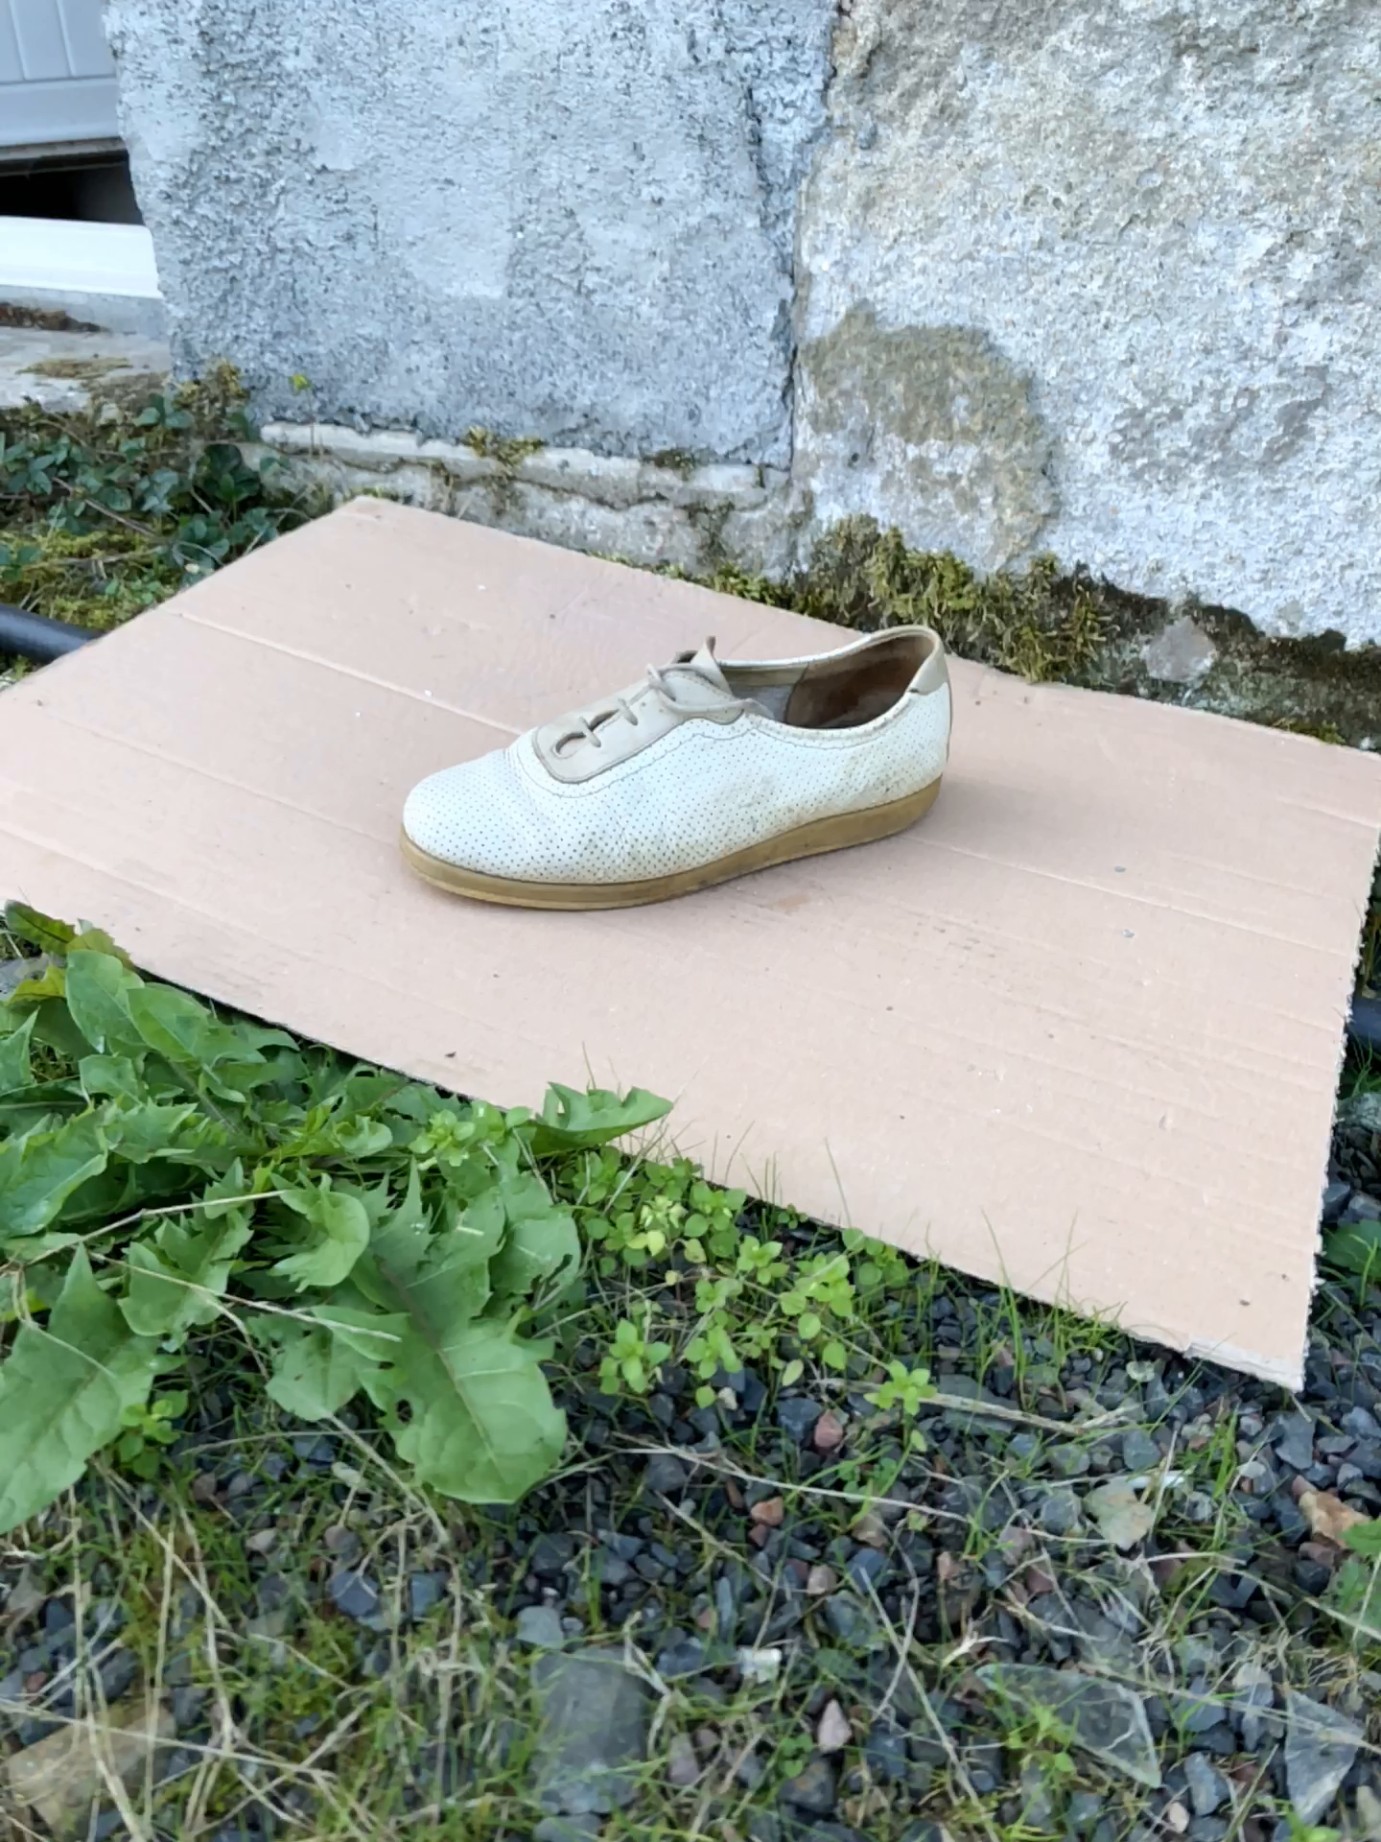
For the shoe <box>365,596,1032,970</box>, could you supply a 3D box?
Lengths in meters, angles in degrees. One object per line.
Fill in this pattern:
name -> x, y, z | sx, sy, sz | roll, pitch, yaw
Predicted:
shoe -> 0.003, -0.065, 0.650 | 0.260, 0.089, 0.090 | -11, 34, -14
